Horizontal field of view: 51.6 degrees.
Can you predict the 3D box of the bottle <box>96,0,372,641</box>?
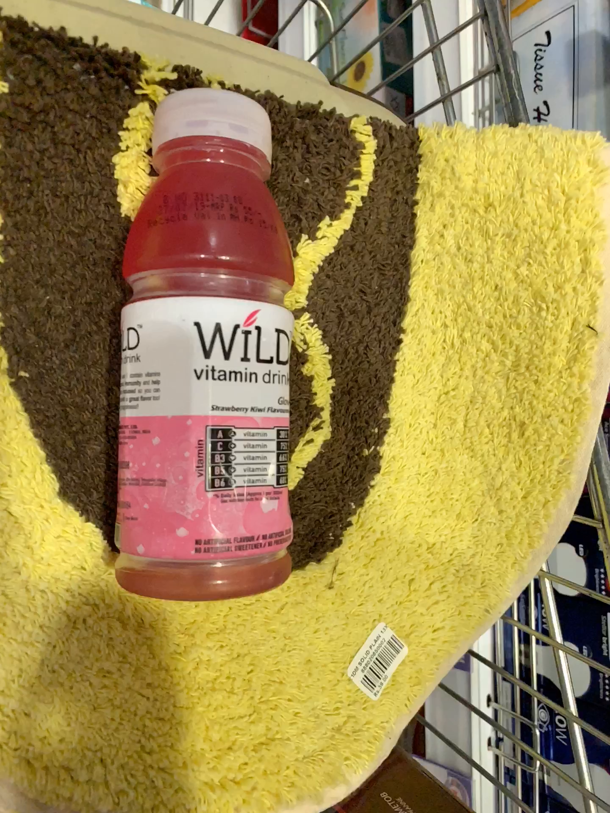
[{"bbox_3d":[-0.025,-0.021,0.193,0.060,0.050,0.160,1,96,-31],"label":"bottle"}]
